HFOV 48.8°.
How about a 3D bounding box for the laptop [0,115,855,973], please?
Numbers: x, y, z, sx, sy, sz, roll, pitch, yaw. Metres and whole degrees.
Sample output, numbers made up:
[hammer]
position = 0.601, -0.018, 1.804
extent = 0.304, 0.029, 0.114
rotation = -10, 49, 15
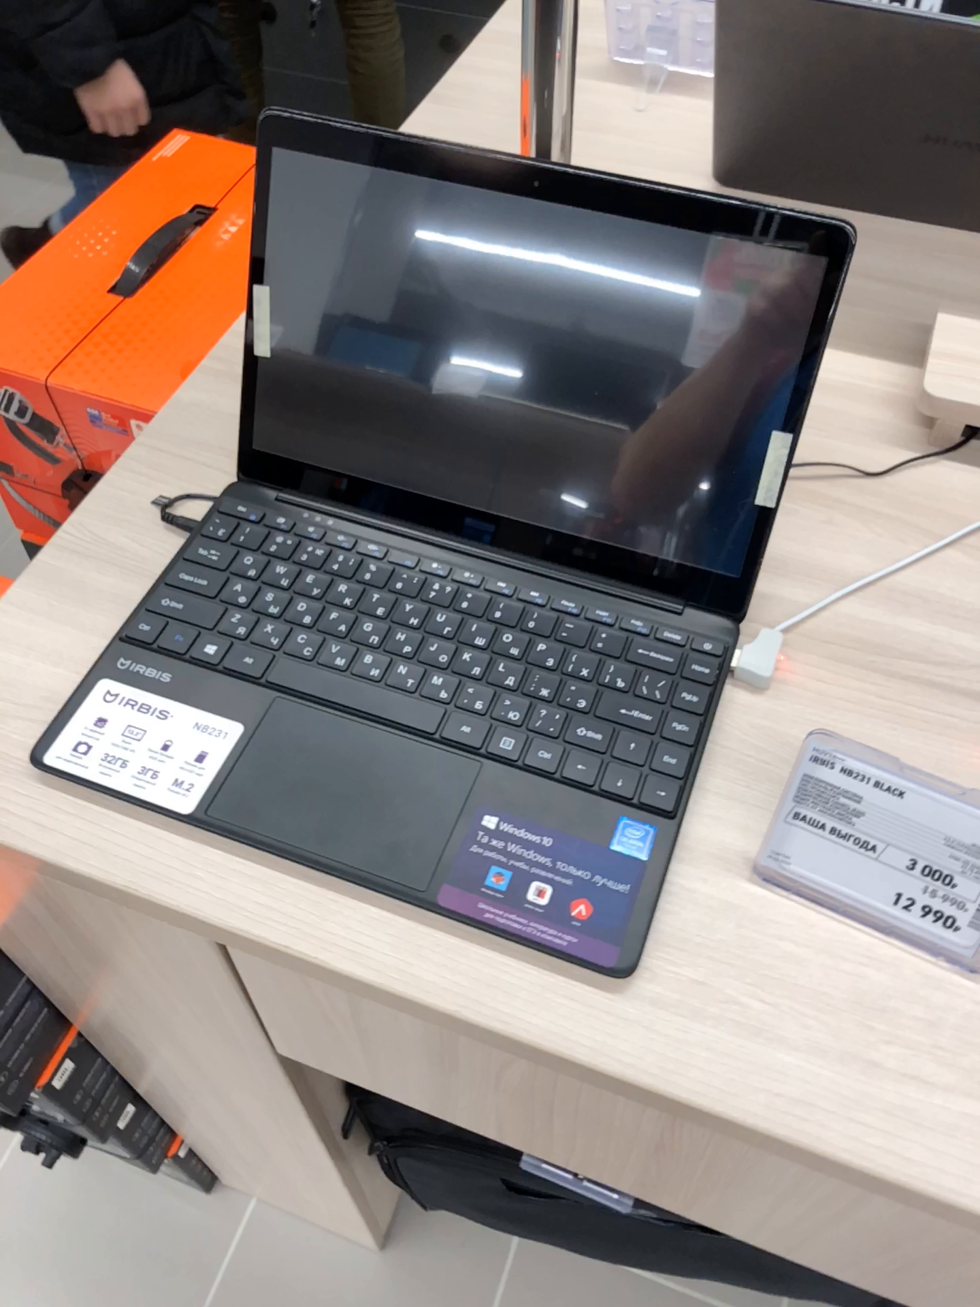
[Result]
[laptop]
position = -0.030, -0.073, 0.511
extent = 0.304, 0.172, 0.307
rotation = 16, 55, 14
